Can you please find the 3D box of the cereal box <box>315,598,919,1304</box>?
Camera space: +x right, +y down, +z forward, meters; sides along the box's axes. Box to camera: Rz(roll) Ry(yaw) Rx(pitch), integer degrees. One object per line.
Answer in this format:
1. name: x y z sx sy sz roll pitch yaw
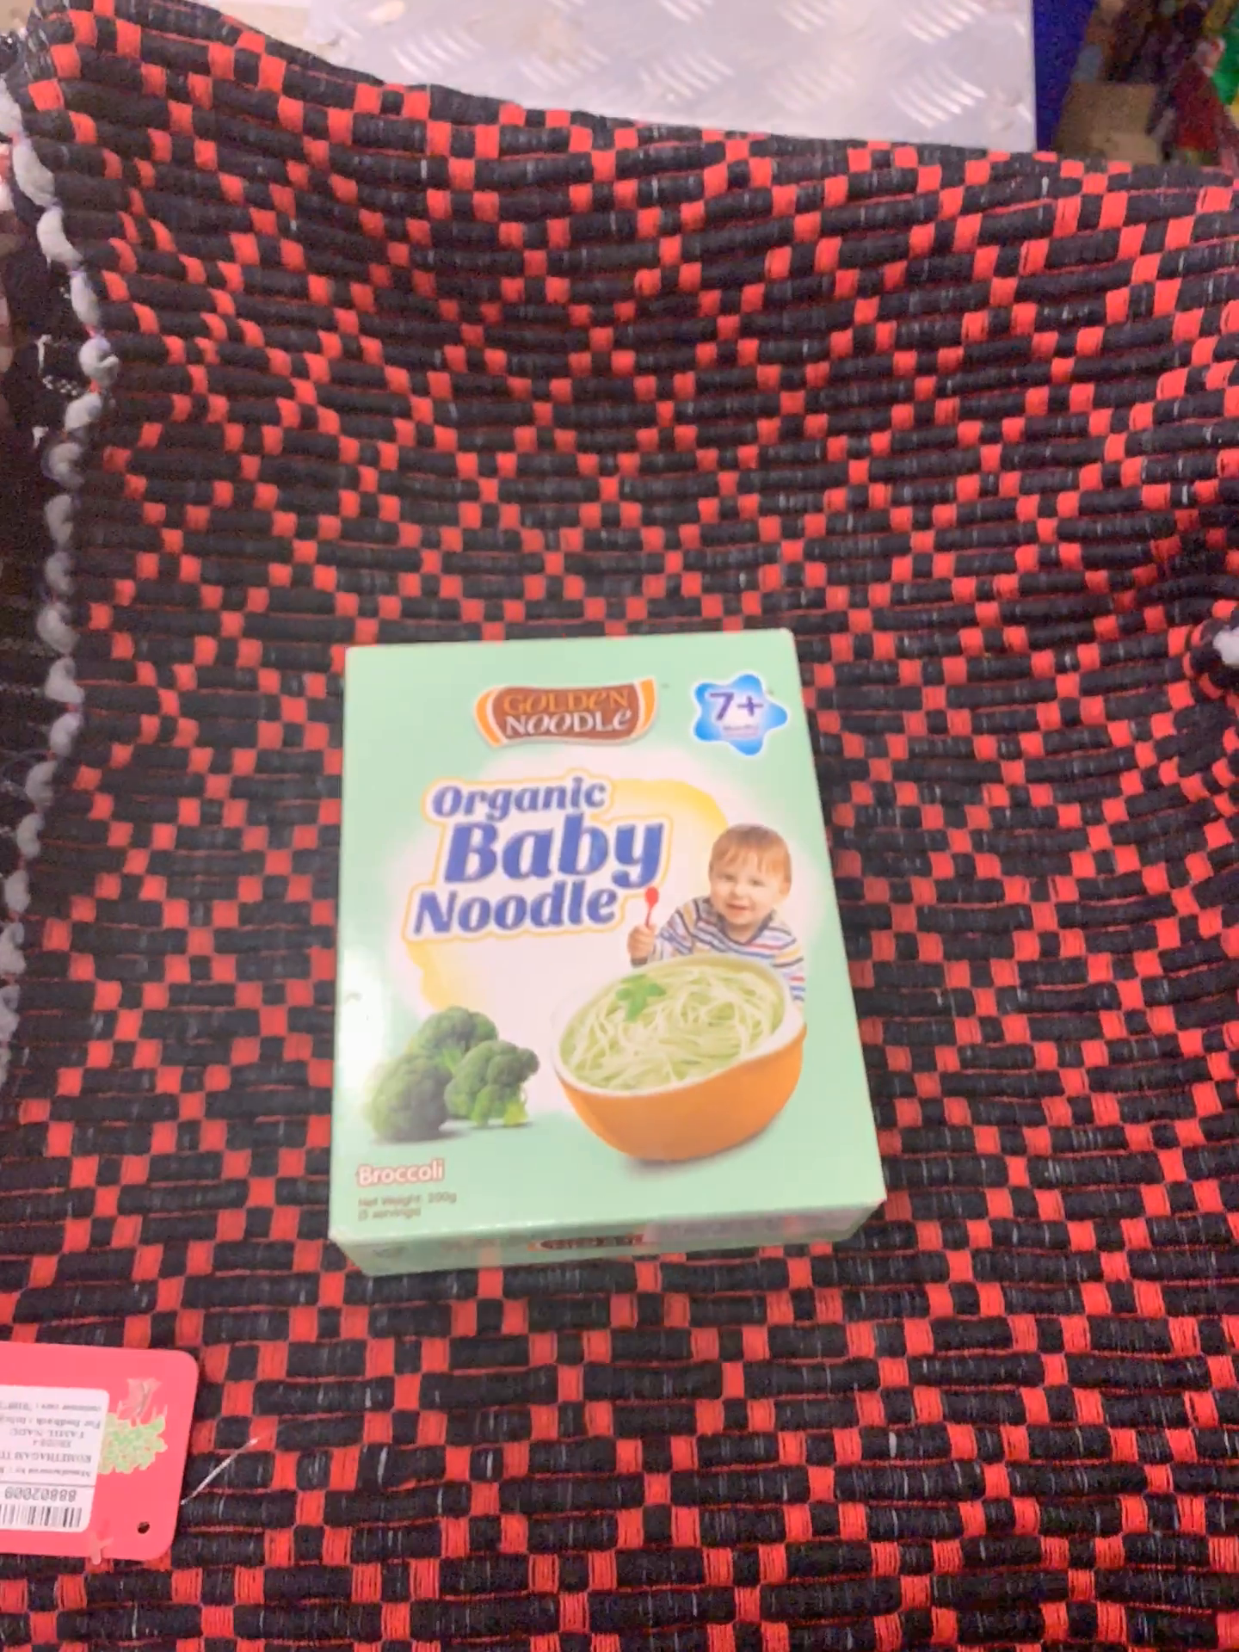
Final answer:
1. cereal box: -0.007 0.029 0.342 0.130 0.060 0.170 -2 63 -4
